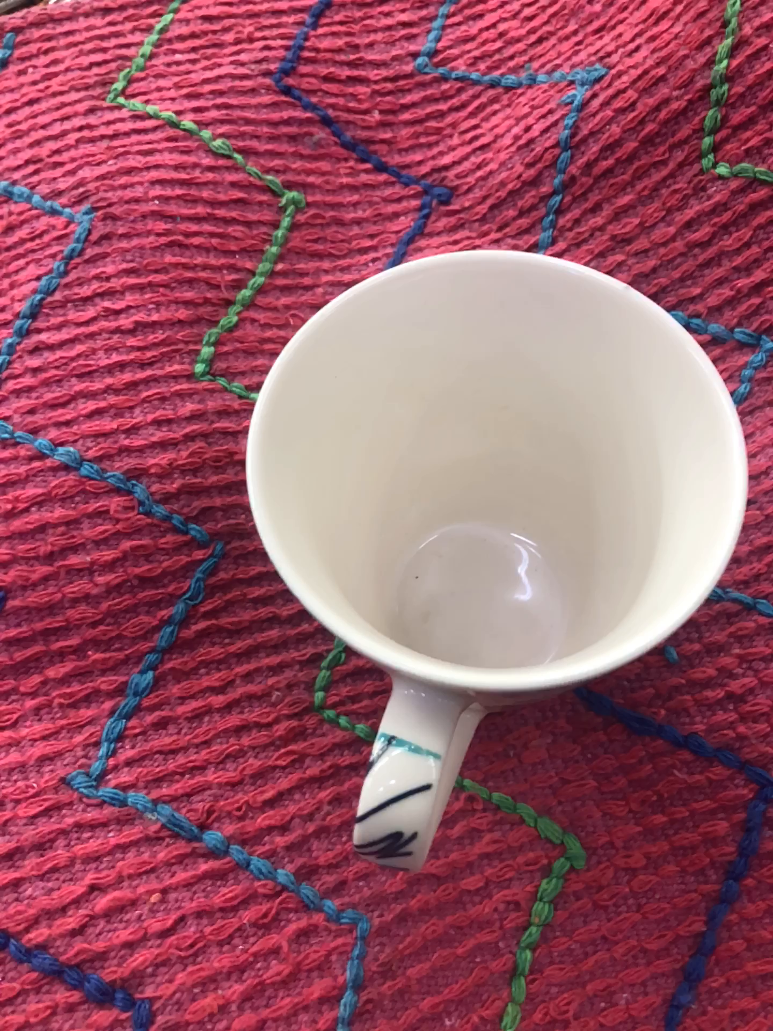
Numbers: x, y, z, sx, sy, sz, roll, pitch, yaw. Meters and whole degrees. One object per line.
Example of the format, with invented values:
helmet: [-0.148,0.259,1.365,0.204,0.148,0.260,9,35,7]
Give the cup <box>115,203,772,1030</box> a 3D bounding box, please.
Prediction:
cup: [0.022,0.017,0.168,0.090,0.080,0.110,12,78,11]
